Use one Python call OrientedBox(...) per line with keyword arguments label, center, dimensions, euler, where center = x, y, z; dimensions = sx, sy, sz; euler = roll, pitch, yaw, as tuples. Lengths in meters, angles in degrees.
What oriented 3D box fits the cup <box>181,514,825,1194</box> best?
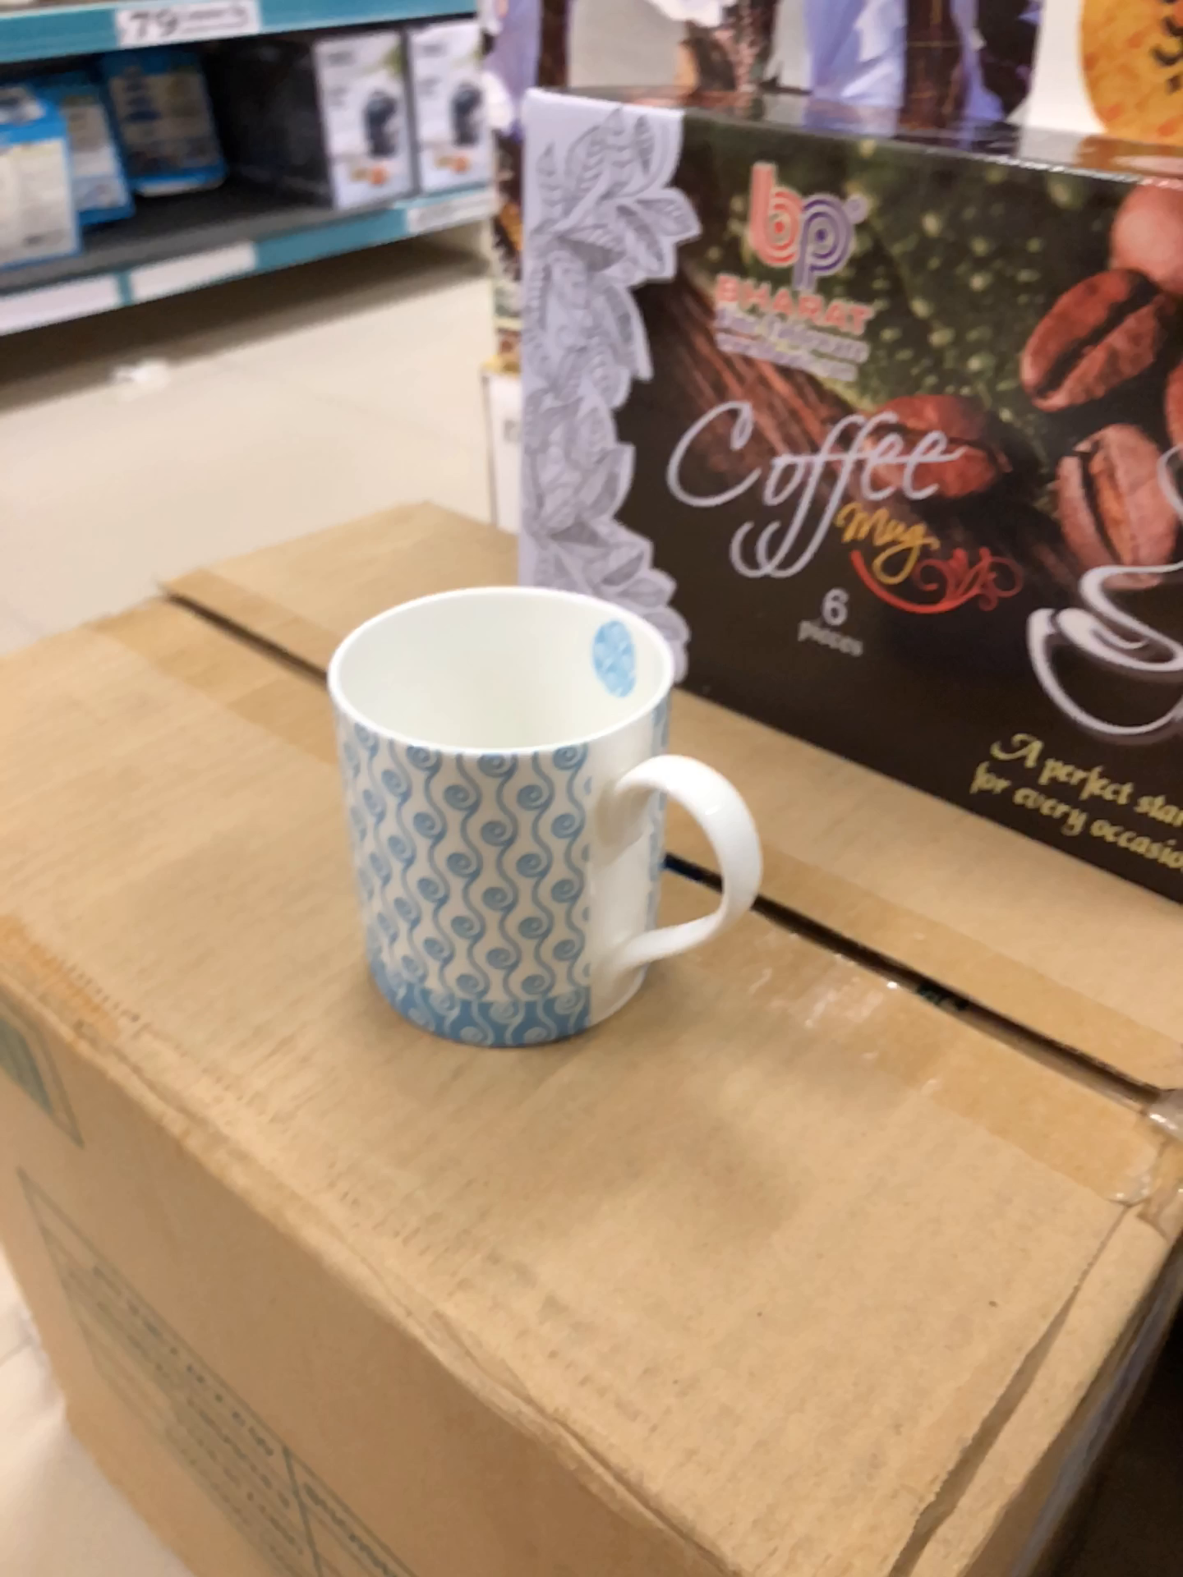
OrientedBox(label="cup", center=(-0.019, 0.008, 0.289), dimensions=(0.110, 0.089, 0.070), euler=(26, 43, 33))
